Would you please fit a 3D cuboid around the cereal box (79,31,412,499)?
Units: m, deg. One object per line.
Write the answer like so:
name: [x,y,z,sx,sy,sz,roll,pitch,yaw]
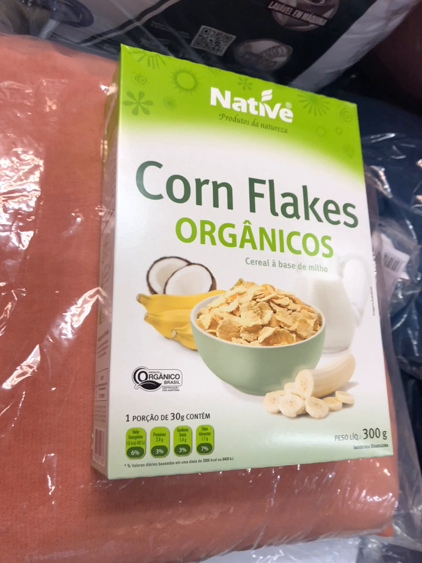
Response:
cereal box: [0.020,-0.009,0.295,0.181,0.060,0.240,5,74,-24]
